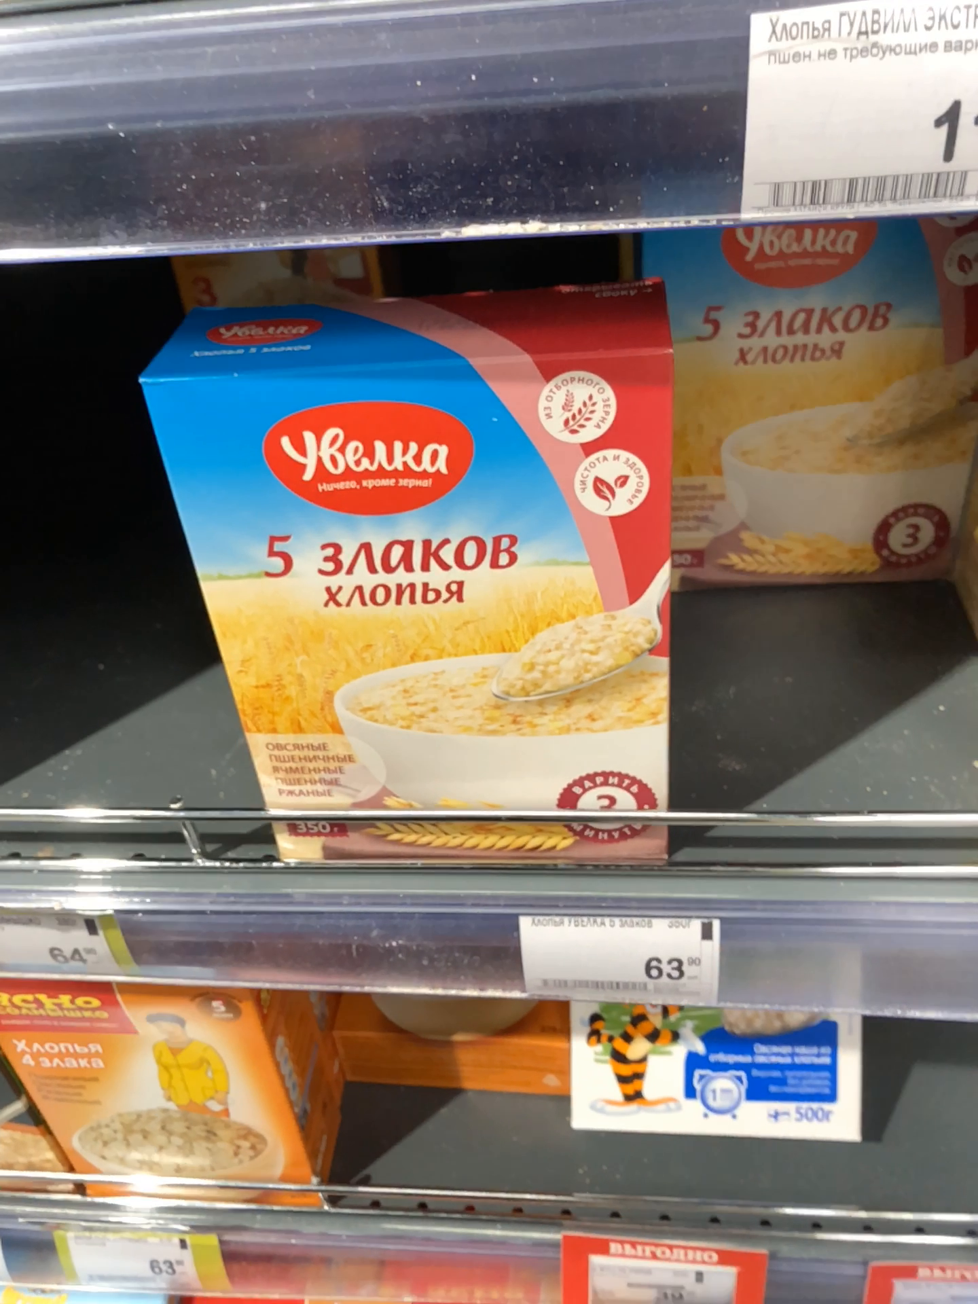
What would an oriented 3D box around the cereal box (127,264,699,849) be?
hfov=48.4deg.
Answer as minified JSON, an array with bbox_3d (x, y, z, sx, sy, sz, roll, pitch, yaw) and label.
[{"bbox_3d":[-0.013,-0.020,0.357,0.150,0.189,0.050,-1,36,6],"label":"cereal box"}]
